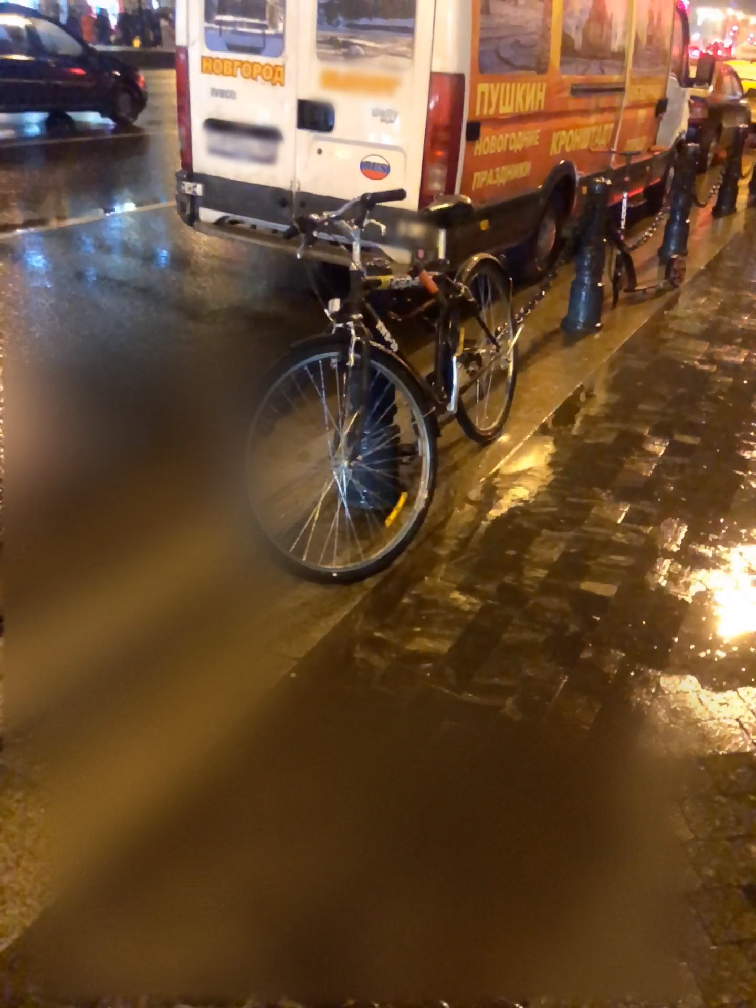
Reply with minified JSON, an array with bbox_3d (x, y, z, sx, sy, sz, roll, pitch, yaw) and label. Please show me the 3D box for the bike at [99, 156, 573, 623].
[{"bbox_3d":[0.007,-0.542,2.747,0.553,0.961,1.756,17,33,27],"label":"bike"}]
